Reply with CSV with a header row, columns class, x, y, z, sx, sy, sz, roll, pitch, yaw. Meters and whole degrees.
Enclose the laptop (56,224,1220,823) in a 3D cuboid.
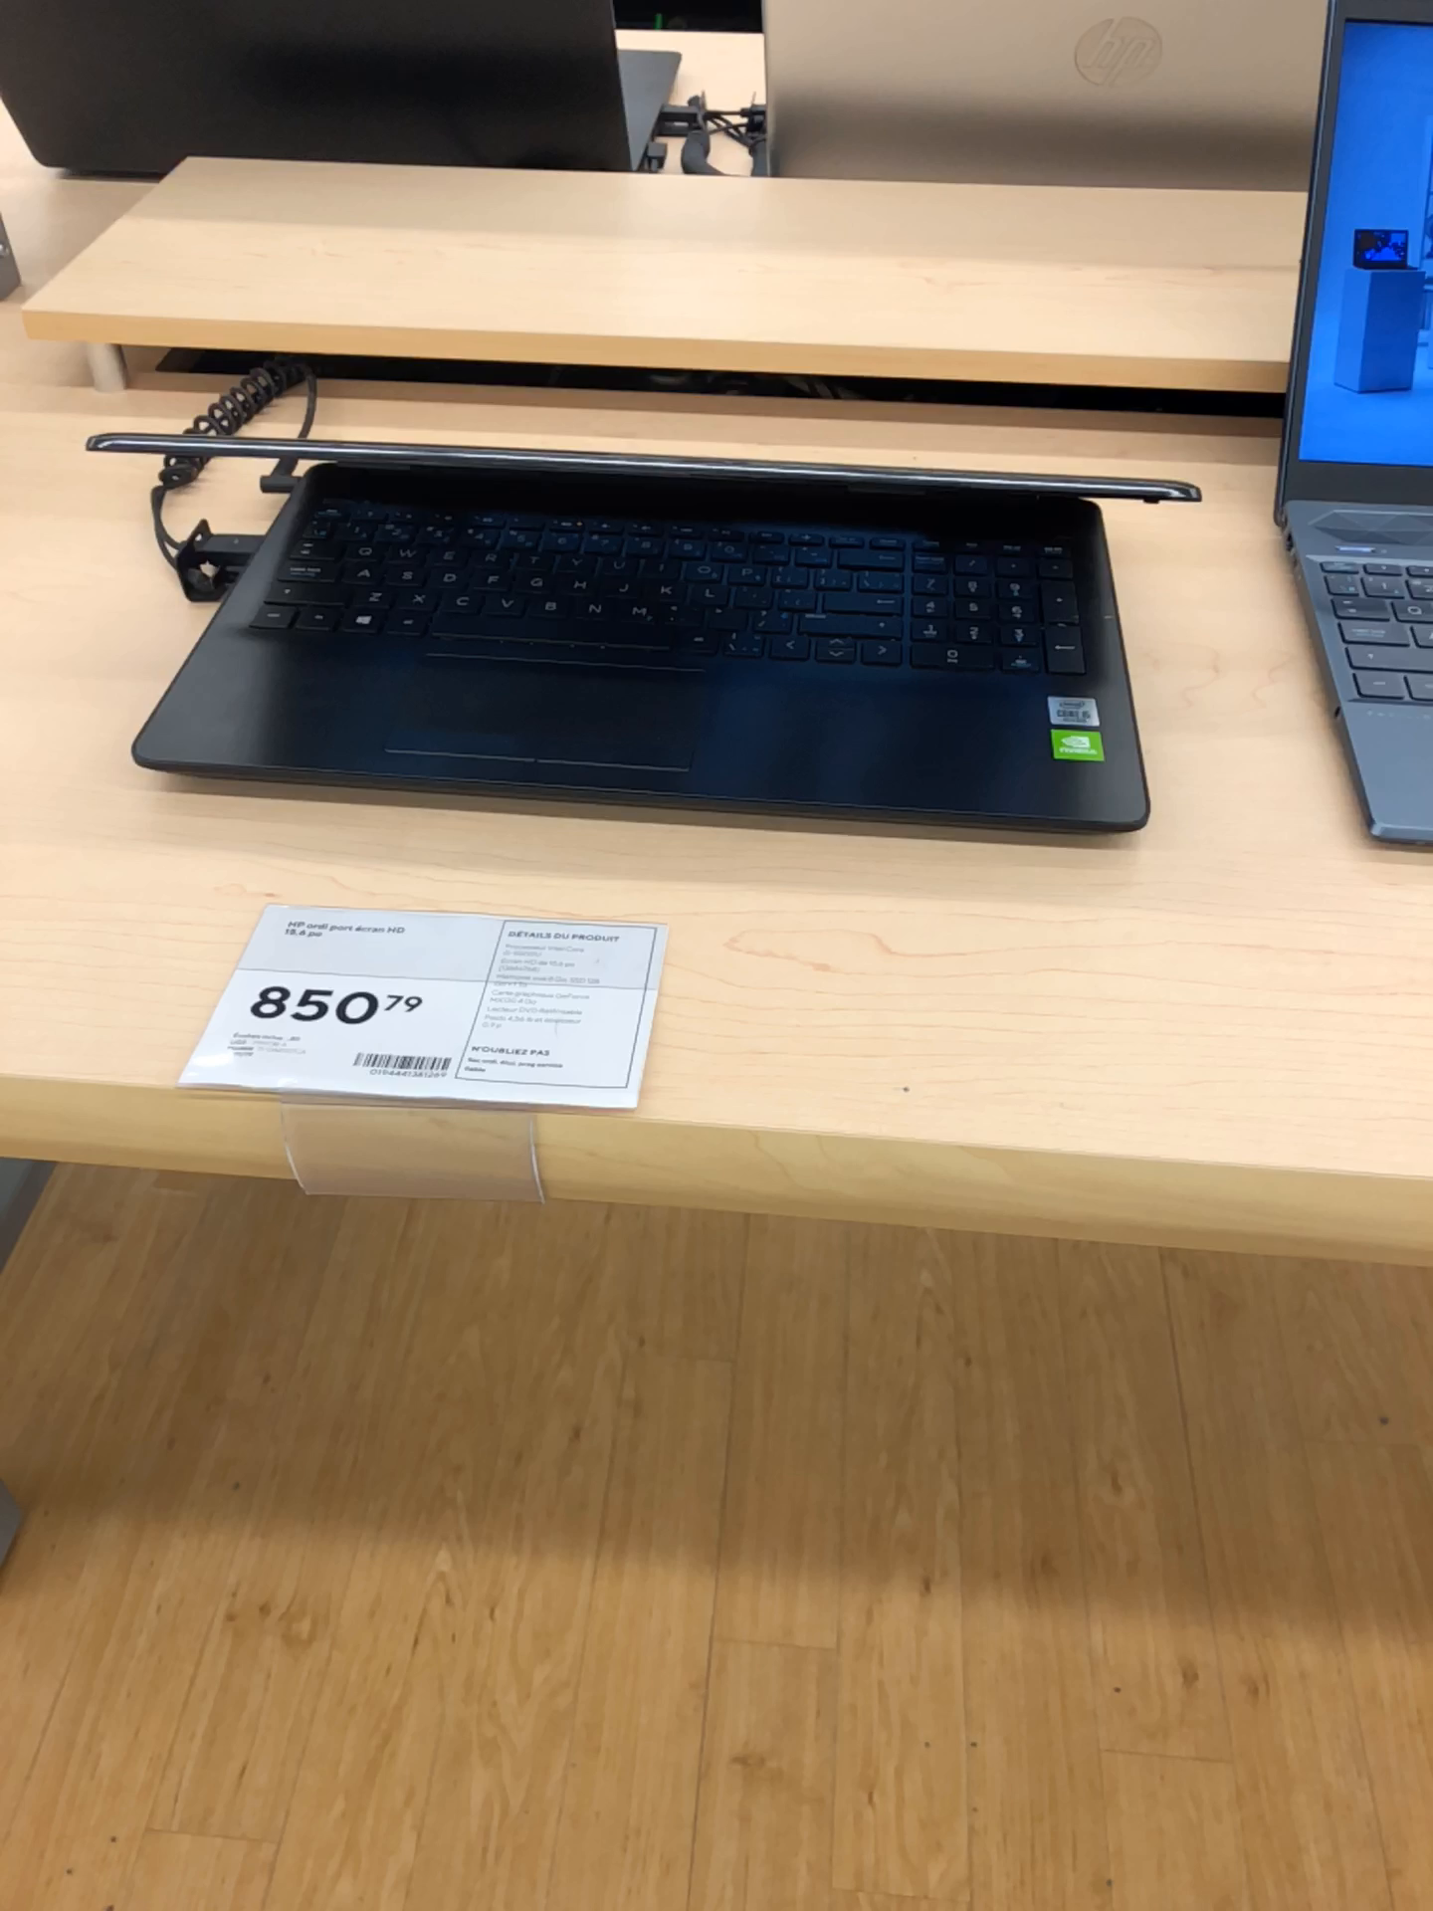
class,x,y,z,sx,sy,sz,roll,pitch,yaw
laptop,-0.022,-0.184,0.624,0.371,0.115,0.240,4,43,5
